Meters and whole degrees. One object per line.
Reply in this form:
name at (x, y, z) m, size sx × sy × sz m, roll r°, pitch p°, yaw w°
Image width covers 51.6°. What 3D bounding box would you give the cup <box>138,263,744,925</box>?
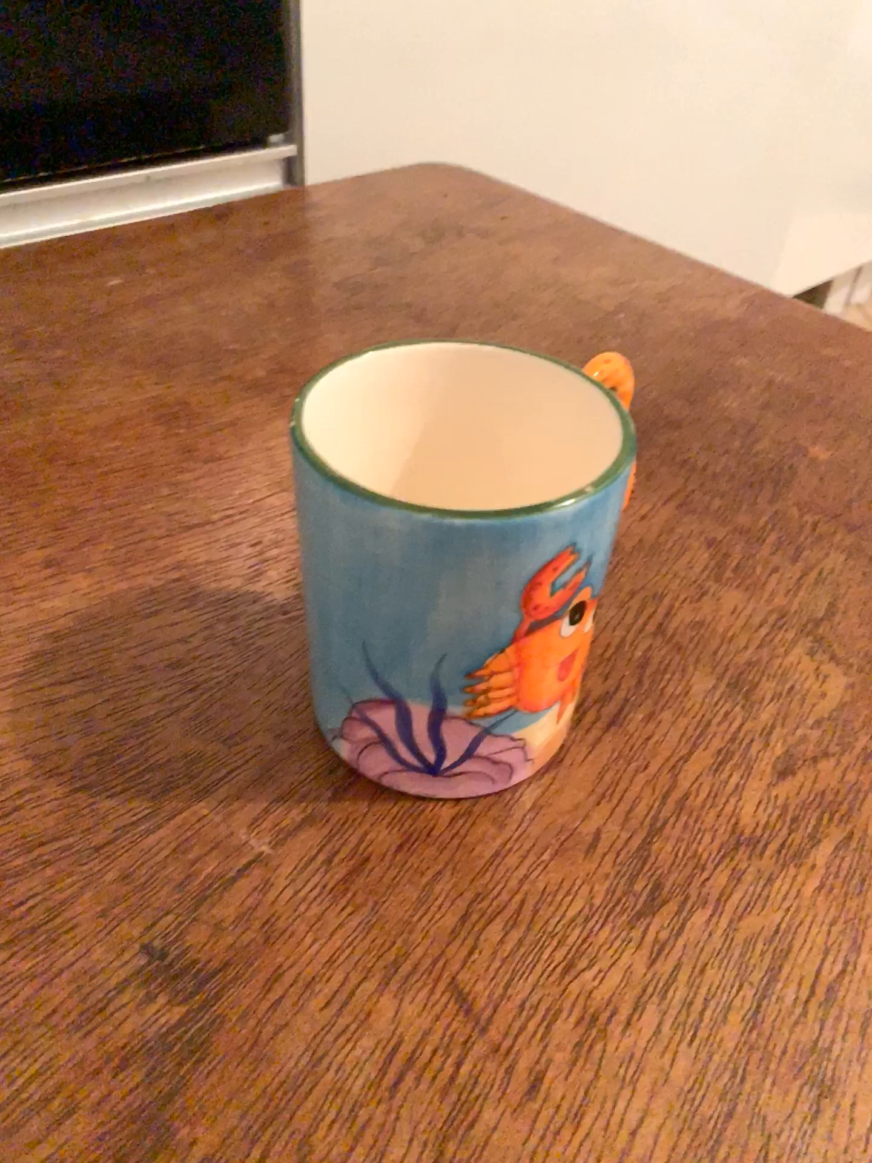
cup at (0.007, -0.006, 0.240) m, size 0.080 × 0.099 × 0.131 m, roll 26°, pitch 45°, yaw 24°
